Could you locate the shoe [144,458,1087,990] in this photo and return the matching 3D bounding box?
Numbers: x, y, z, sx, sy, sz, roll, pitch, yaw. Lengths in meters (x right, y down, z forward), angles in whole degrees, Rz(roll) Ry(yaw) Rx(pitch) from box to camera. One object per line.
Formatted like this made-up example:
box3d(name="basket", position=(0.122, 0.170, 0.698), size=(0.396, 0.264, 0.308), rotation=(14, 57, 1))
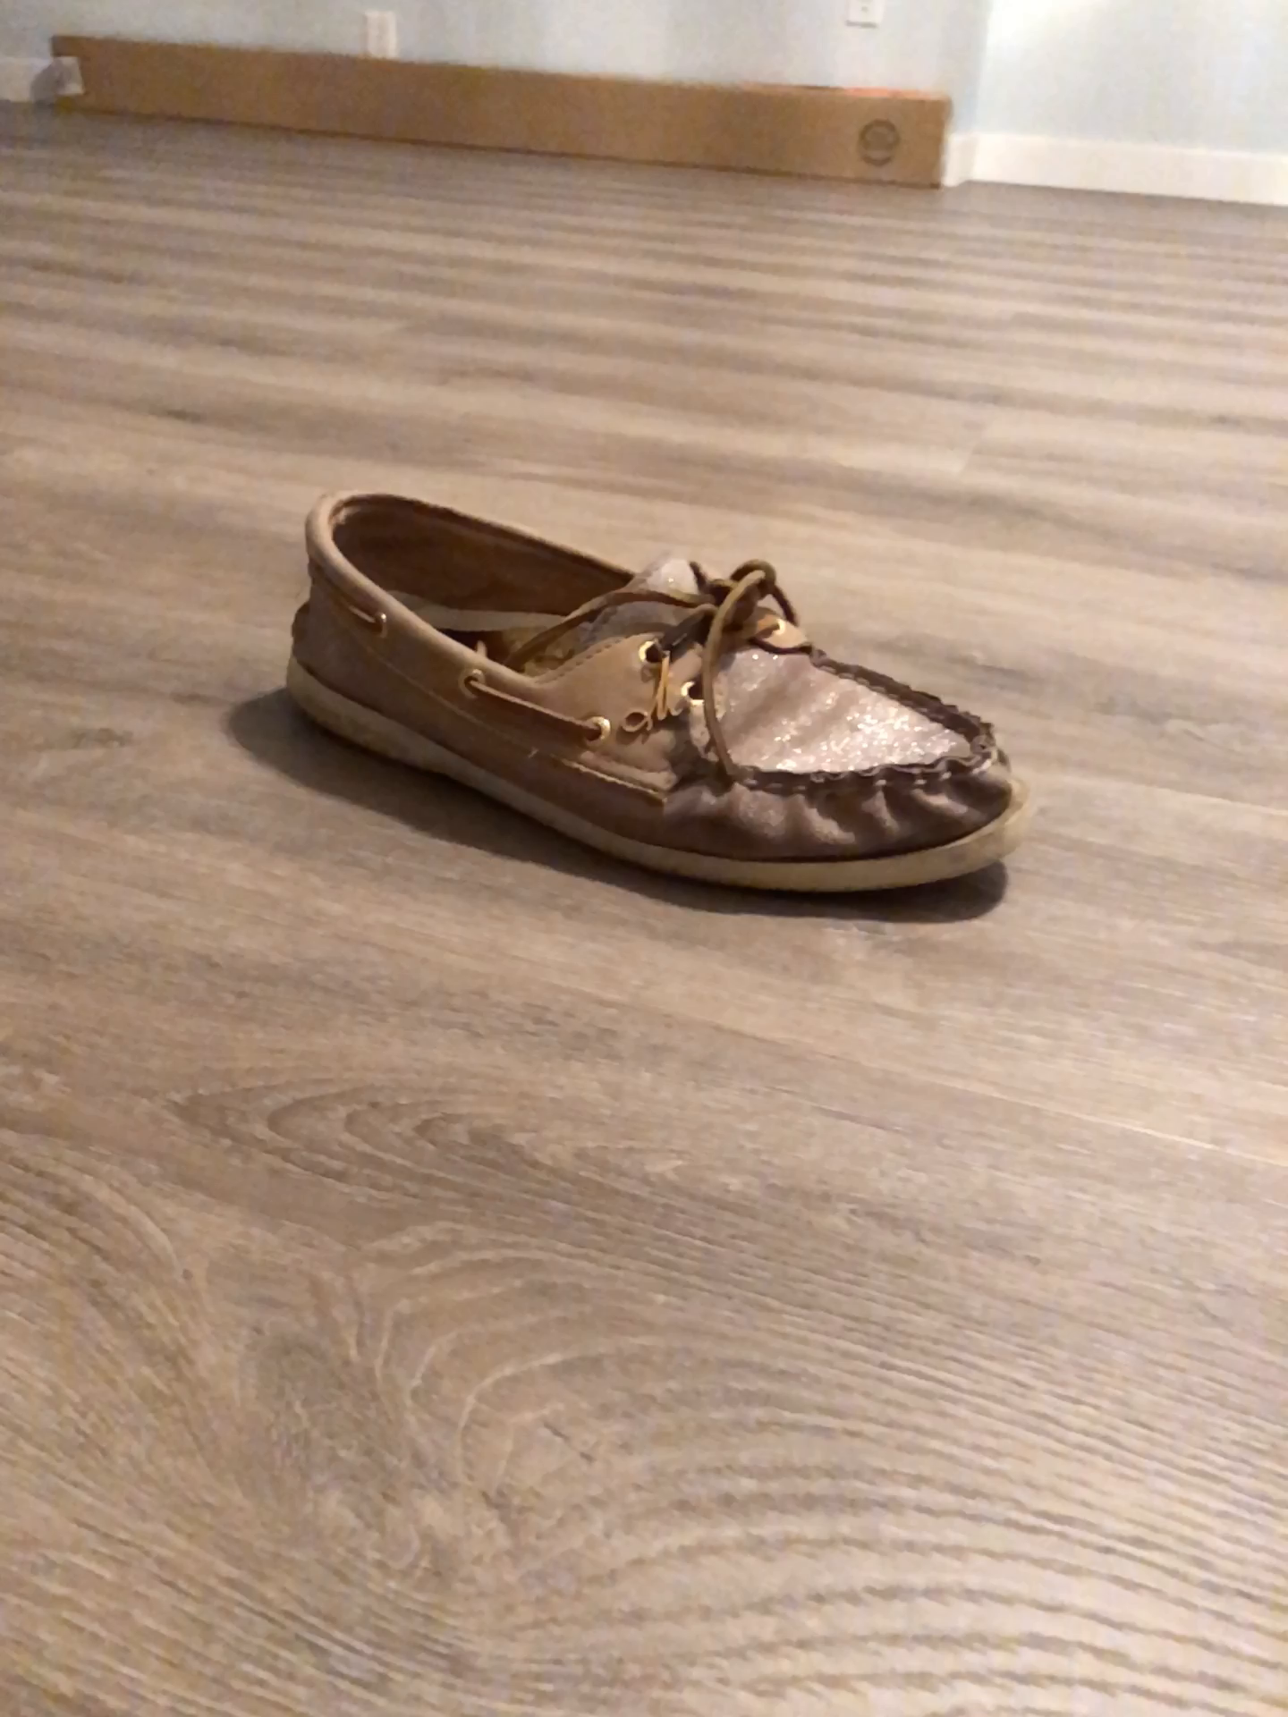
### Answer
box3d(name="shoe", position=(-0.013, -0.053, 0.421), size=(0.250, 0.070, 0.100), rotation=(17, 31, 23))
